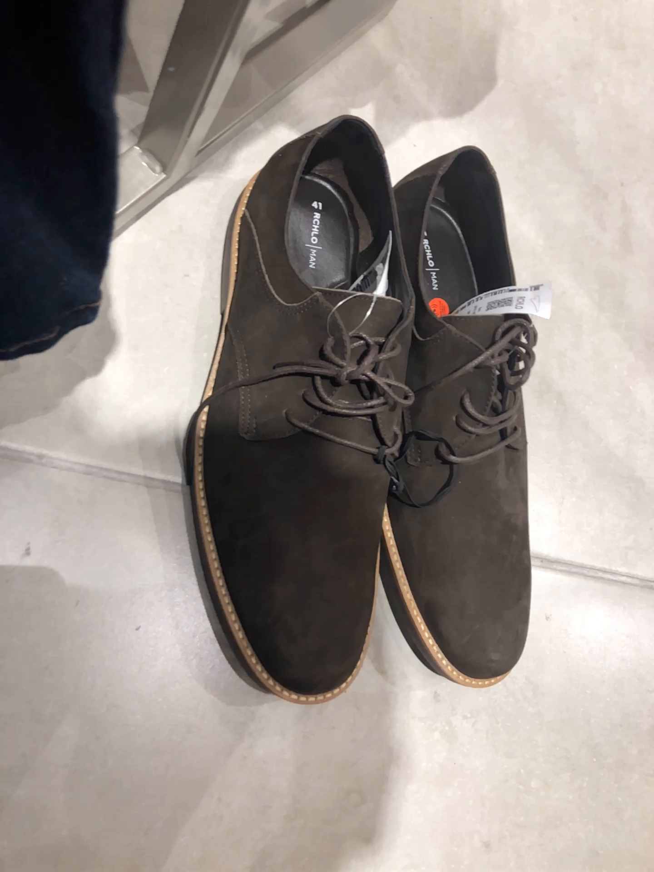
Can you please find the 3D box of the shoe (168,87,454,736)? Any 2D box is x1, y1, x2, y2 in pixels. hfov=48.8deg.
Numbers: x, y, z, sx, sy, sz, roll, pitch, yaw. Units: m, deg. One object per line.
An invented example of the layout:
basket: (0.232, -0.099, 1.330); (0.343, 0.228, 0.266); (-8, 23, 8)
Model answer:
shoe: (-0.019, -0.010, 0.400); (0.110, 0.120, 0.300); (3, 78, -24)

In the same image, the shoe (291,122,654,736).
shoe: (0.072, -0.005, 0.422); (0.110, 0.120, 0.300); (-5, 81, -25)
